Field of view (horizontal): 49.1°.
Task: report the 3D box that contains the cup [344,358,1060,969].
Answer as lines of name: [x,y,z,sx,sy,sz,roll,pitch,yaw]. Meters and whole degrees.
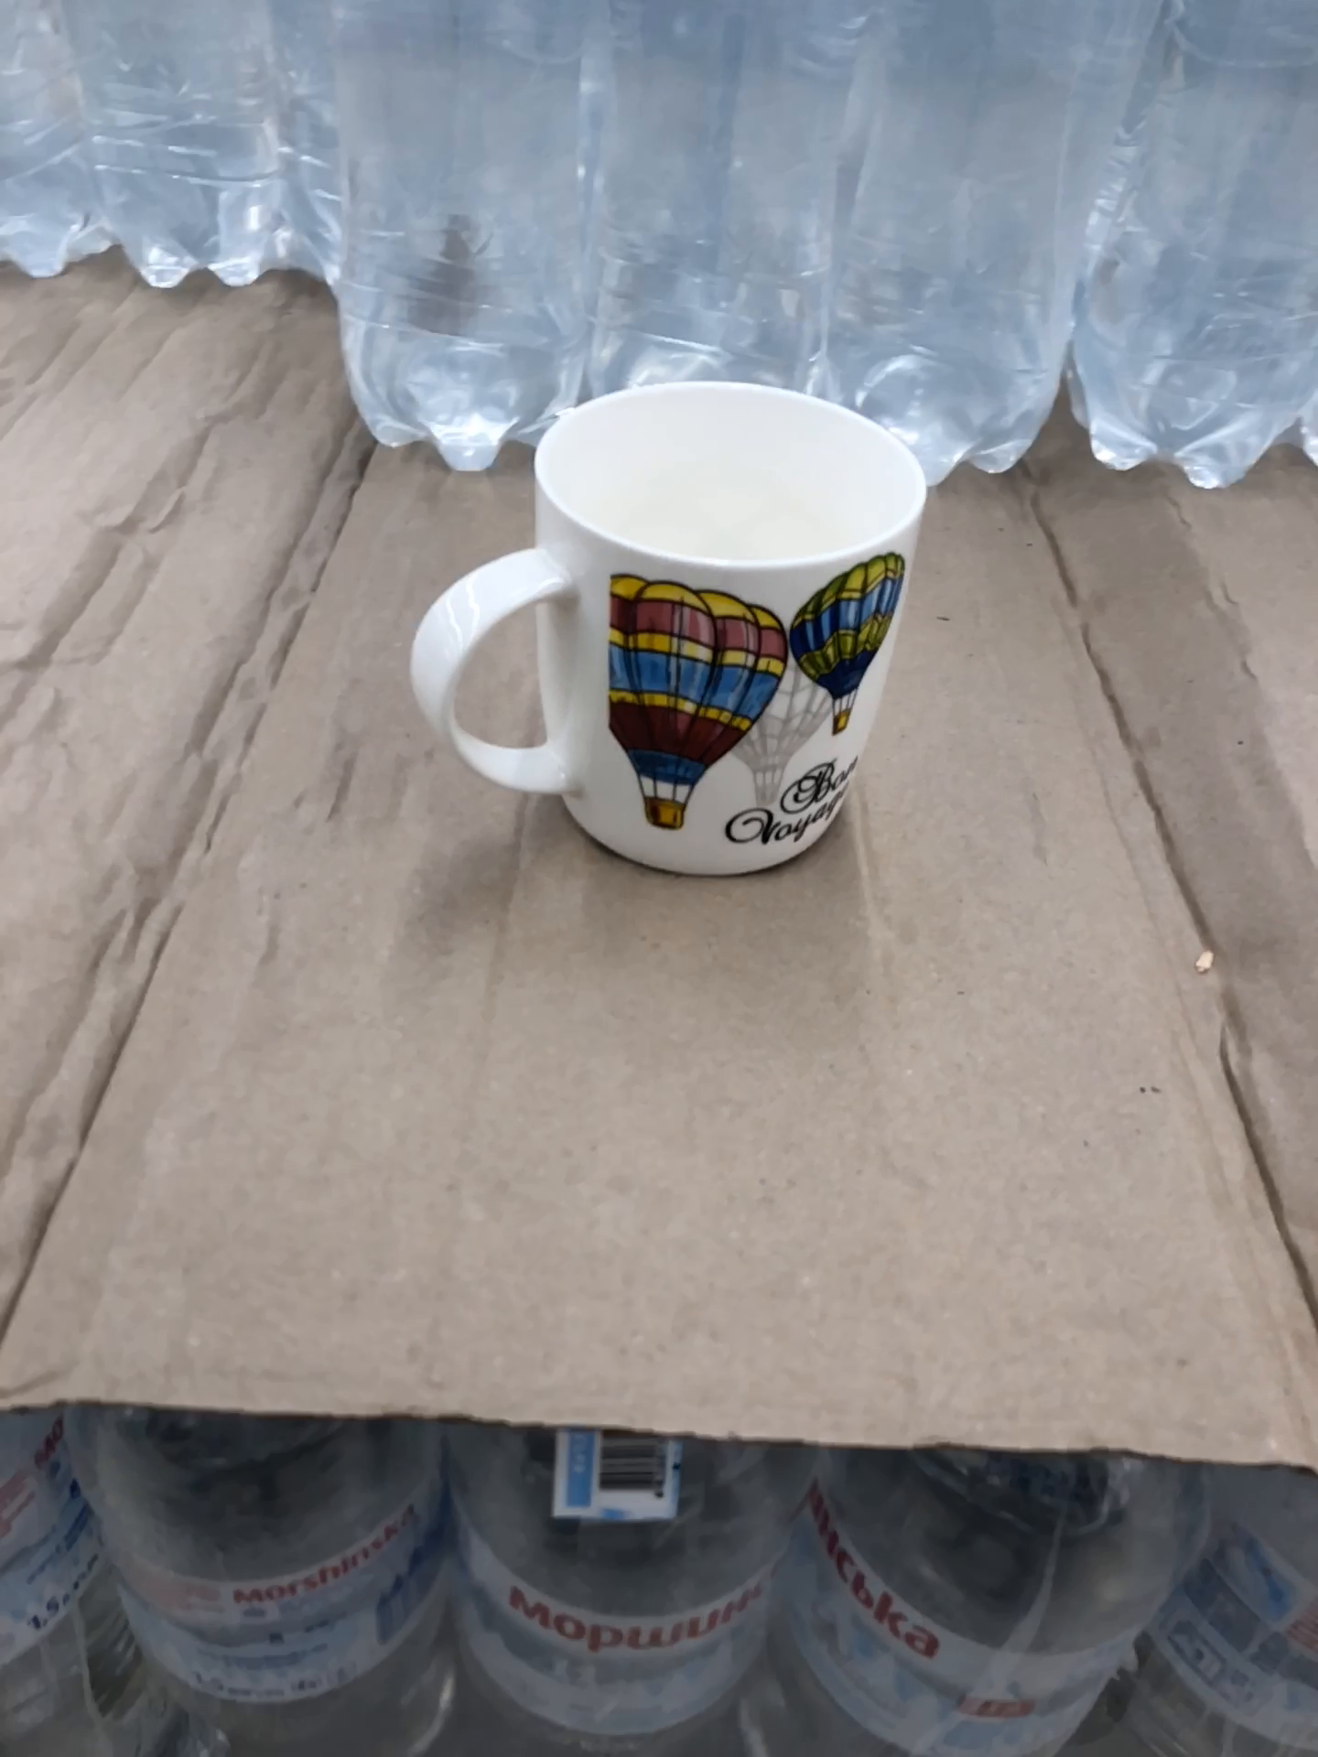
cup: [0.007,-0.058,0.349,0.131,0.082,0.093,-18,45,-21]
